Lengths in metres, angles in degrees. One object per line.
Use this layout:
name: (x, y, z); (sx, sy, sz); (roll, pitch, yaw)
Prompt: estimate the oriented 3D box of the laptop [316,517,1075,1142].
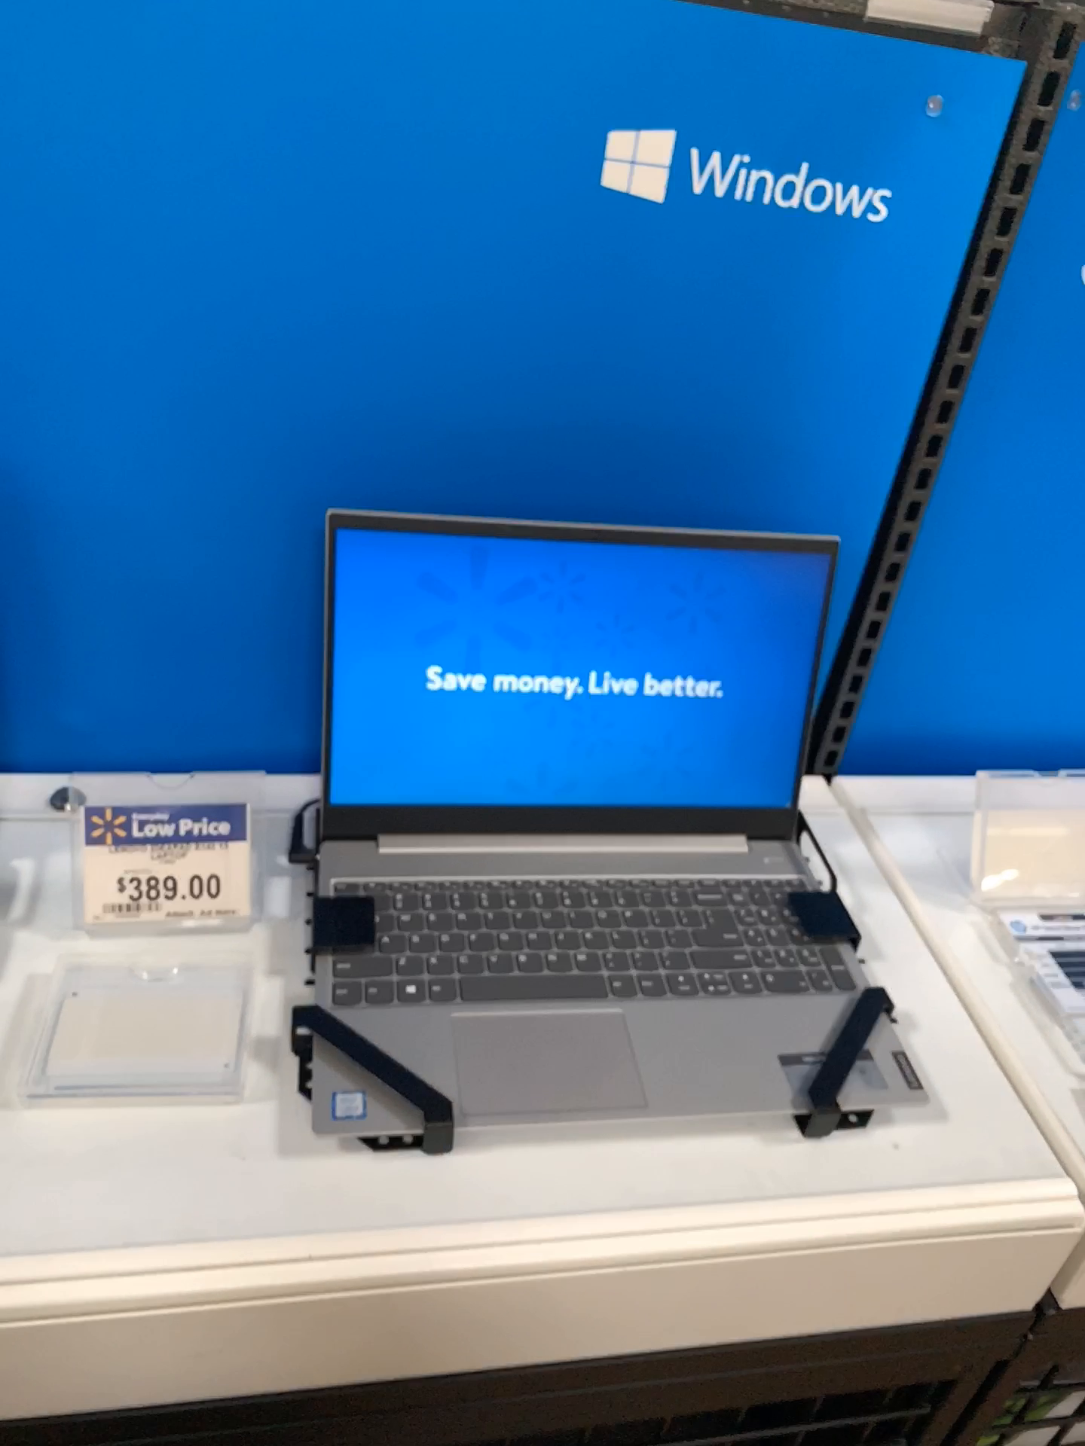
laptop: (0.047, 0.044, 0.681); (0.350, 0.217, 0.299); (1, 34, -11)
